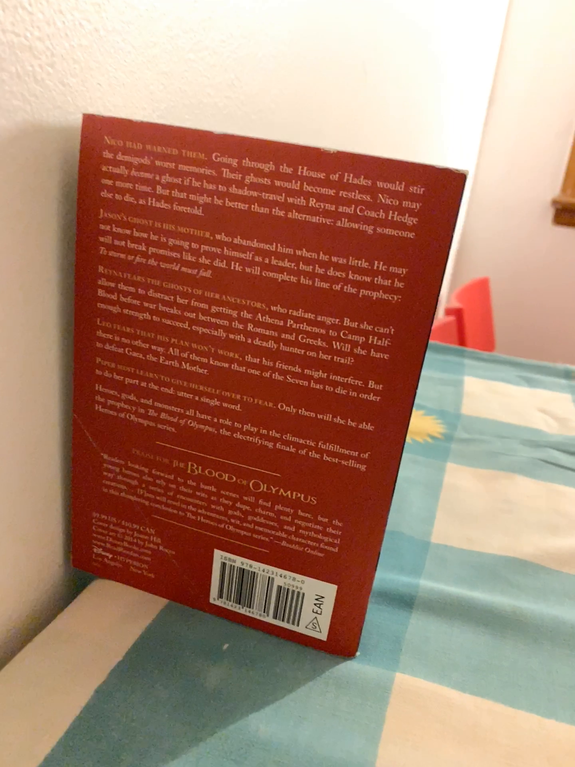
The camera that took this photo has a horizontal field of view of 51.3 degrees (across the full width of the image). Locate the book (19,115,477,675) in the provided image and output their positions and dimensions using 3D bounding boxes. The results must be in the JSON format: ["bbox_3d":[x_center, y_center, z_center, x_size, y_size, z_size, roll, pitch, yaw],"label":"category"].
[{"bbox_3d":[-0.023,0.001,0.236,0.150,0.180,0.051,13,21,16],"label":"book"}]
